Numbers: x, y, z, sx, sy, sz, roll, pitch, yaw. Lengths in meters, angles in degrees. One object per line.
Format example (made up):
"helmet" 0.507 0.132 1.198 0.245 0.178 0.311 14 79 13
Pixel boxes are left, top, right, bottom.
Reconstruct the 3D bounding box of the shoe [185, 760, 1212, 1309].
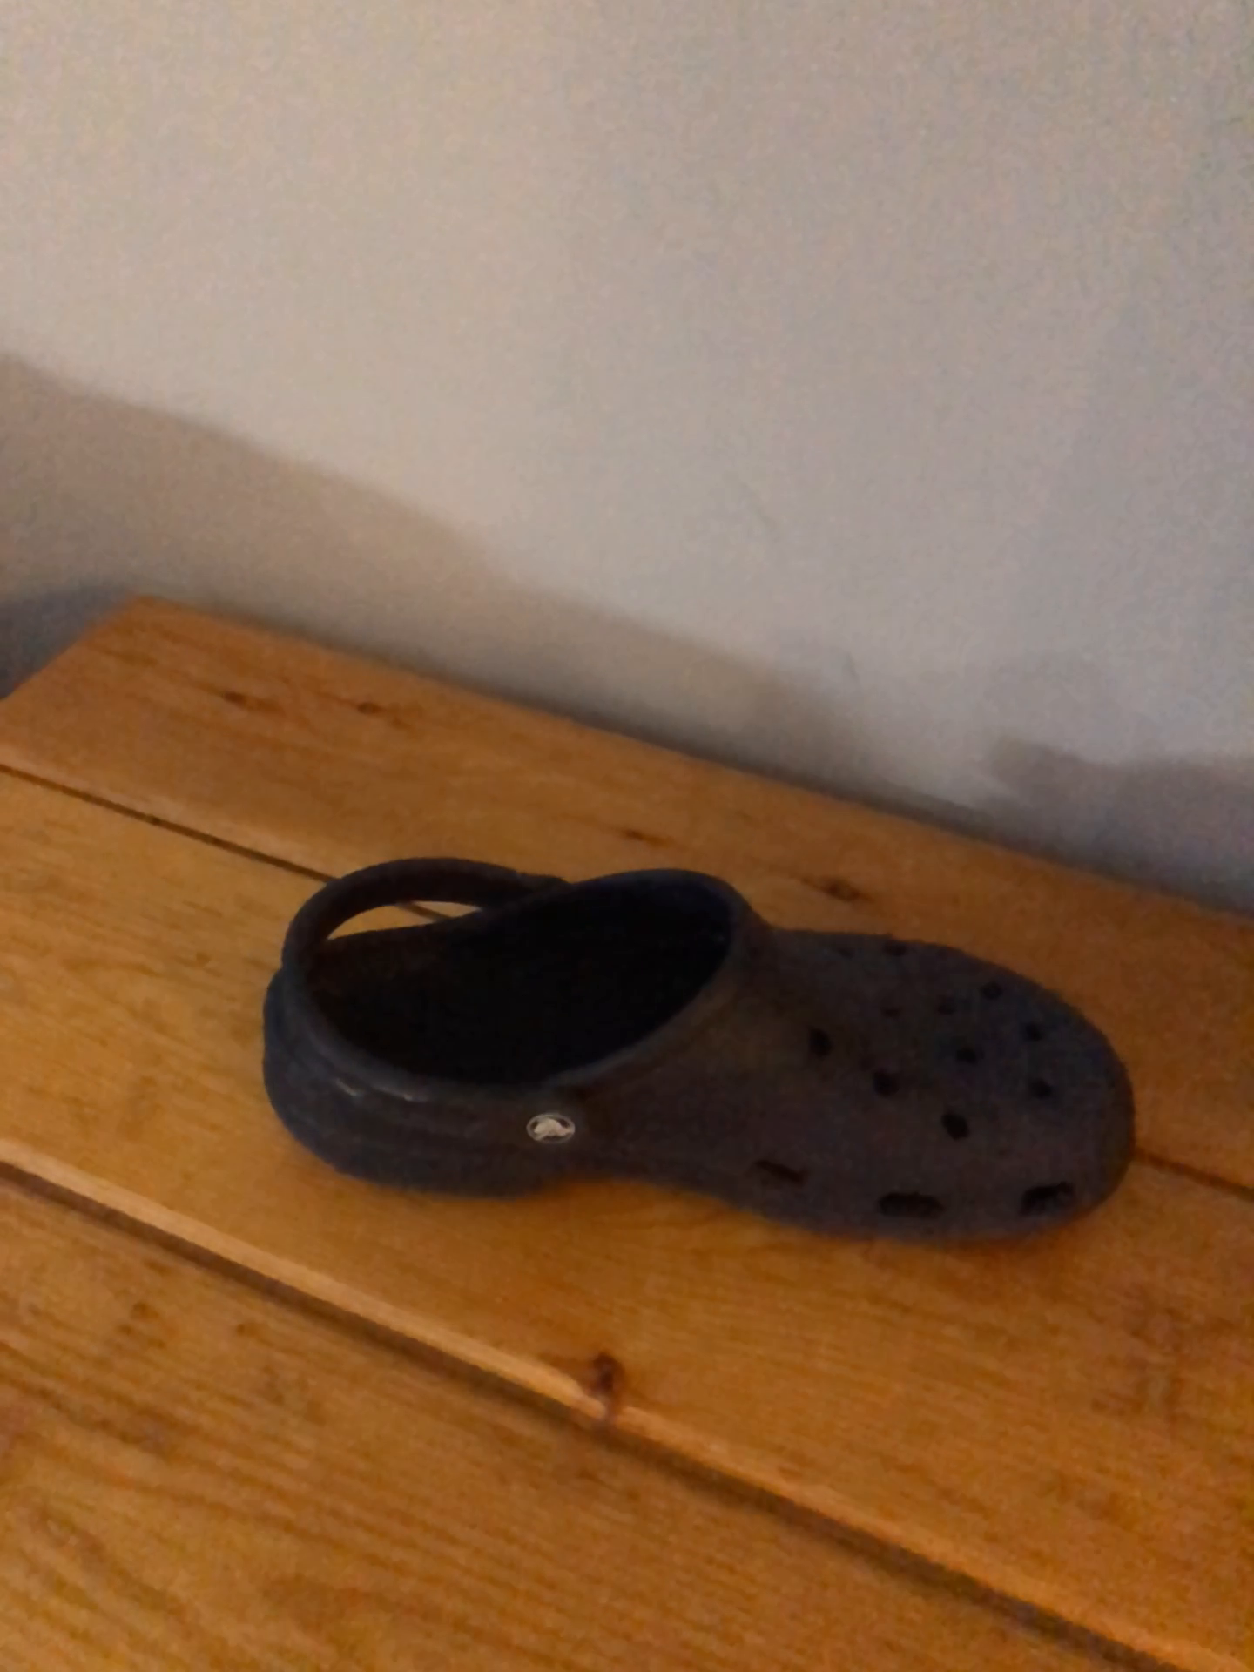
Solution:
"shoe" 0.022 0.061 0.464 0.290 0.080 0.130 6 40 3
